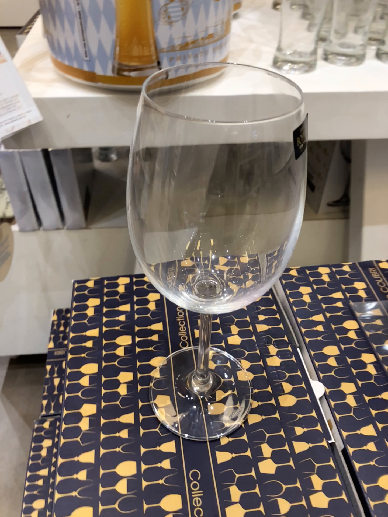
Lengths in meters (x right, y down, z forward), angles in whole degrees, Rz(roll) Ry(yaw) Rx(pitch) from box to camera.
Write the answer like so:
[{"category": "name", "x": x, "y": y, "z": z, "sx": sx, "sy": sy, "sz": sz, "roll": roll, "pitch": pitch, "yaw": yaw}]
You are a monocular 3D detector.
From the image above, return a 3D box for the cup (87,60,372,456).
[{"category": "cup", "x": 0.007, "y": 0.015, "z": 0.239, "sx": 0.090, "sy": 0.208, "sz": 0.091, "roll": 1, "pitch": 41, "yaw": -1}]
